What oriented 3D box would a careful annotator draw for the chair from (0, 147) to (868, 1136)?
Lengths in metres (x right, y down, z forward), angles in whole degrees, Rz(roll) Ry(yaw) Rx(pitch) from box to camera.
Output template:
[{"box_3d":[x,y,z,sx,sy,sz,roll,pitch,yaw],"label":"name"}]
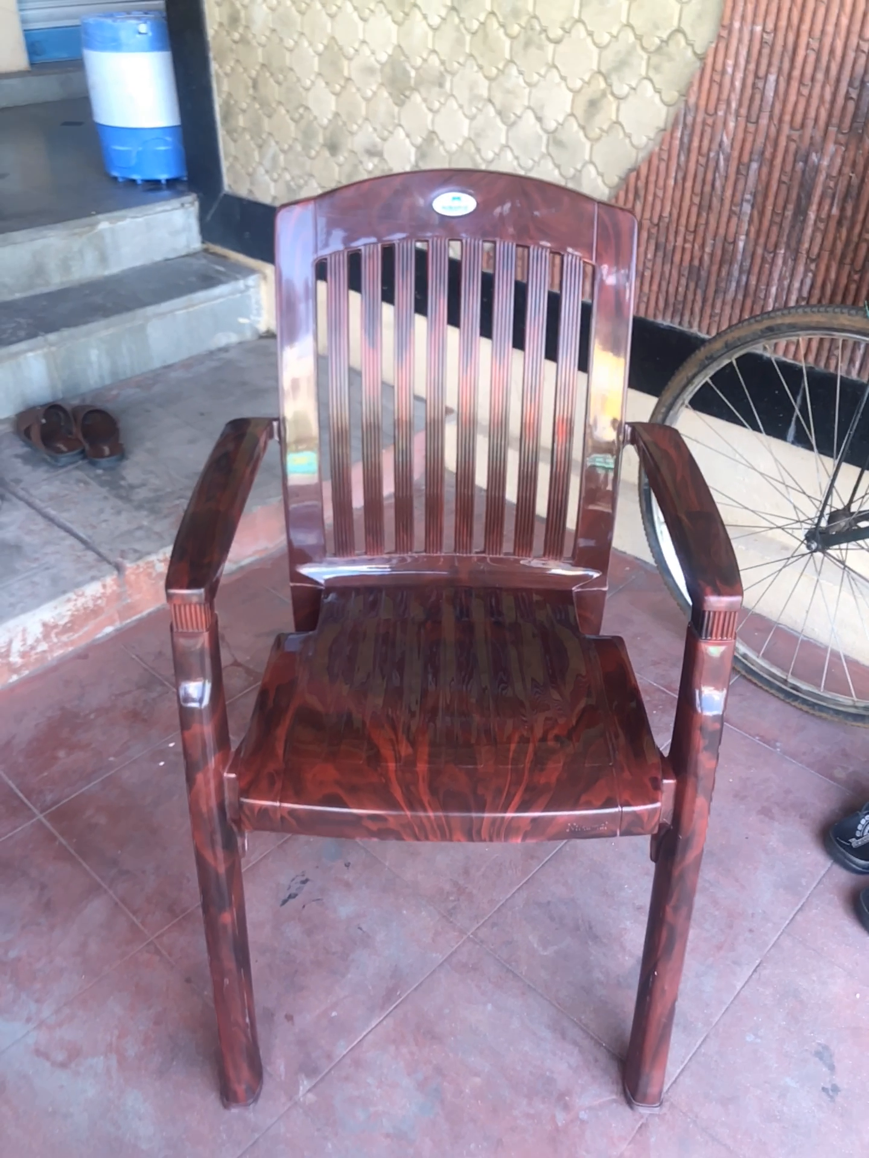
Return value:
[{"box_3d":[0.018,0.040,1.084,0.590,0.846,0.704,1,35,2],"label":"chair"}]
